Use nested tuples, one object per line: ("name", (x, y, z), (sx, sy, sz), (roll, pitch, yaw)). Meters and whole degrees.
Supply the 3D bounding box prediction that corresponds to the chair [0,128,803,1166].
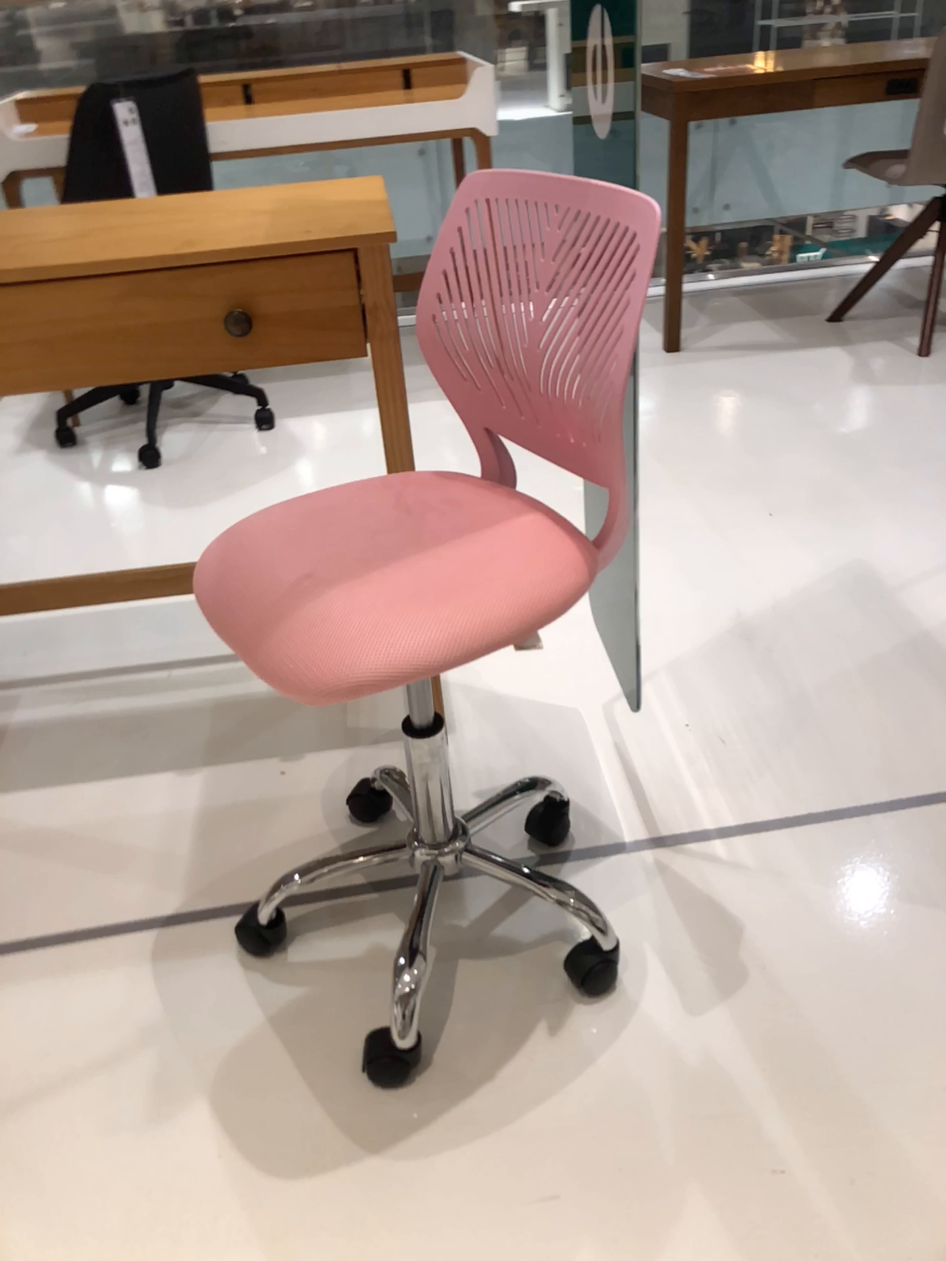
("chair", (-0.058, -0.026, 1.092), (0.522, 0.834, 0.502), (-27, 38, -32))
